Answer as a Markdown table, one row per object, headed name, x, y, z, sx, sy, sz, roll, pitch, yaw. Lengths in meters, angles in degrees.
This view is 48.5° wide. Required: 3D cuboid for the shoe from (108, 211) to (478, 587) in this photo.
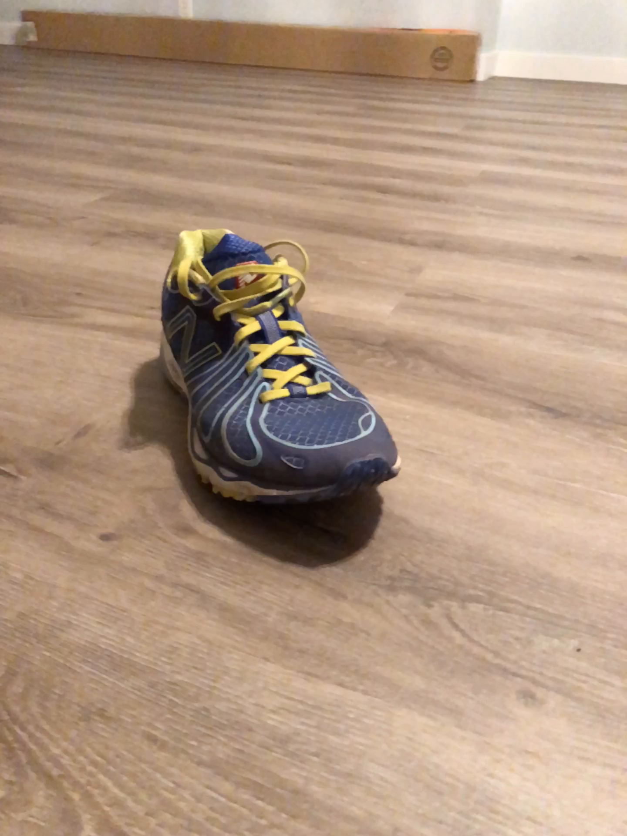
| name | x | y | z | sx | sy | sz | roll | pitch | yaw |
| --- | --- | --- | --- | --- | --- | --- | --- | --- | --- |
| shoe | -0.033 | -0.036 | 0.406 | 0.110 | 0.099 | 0.251 | -12 | 33 | -23 |
